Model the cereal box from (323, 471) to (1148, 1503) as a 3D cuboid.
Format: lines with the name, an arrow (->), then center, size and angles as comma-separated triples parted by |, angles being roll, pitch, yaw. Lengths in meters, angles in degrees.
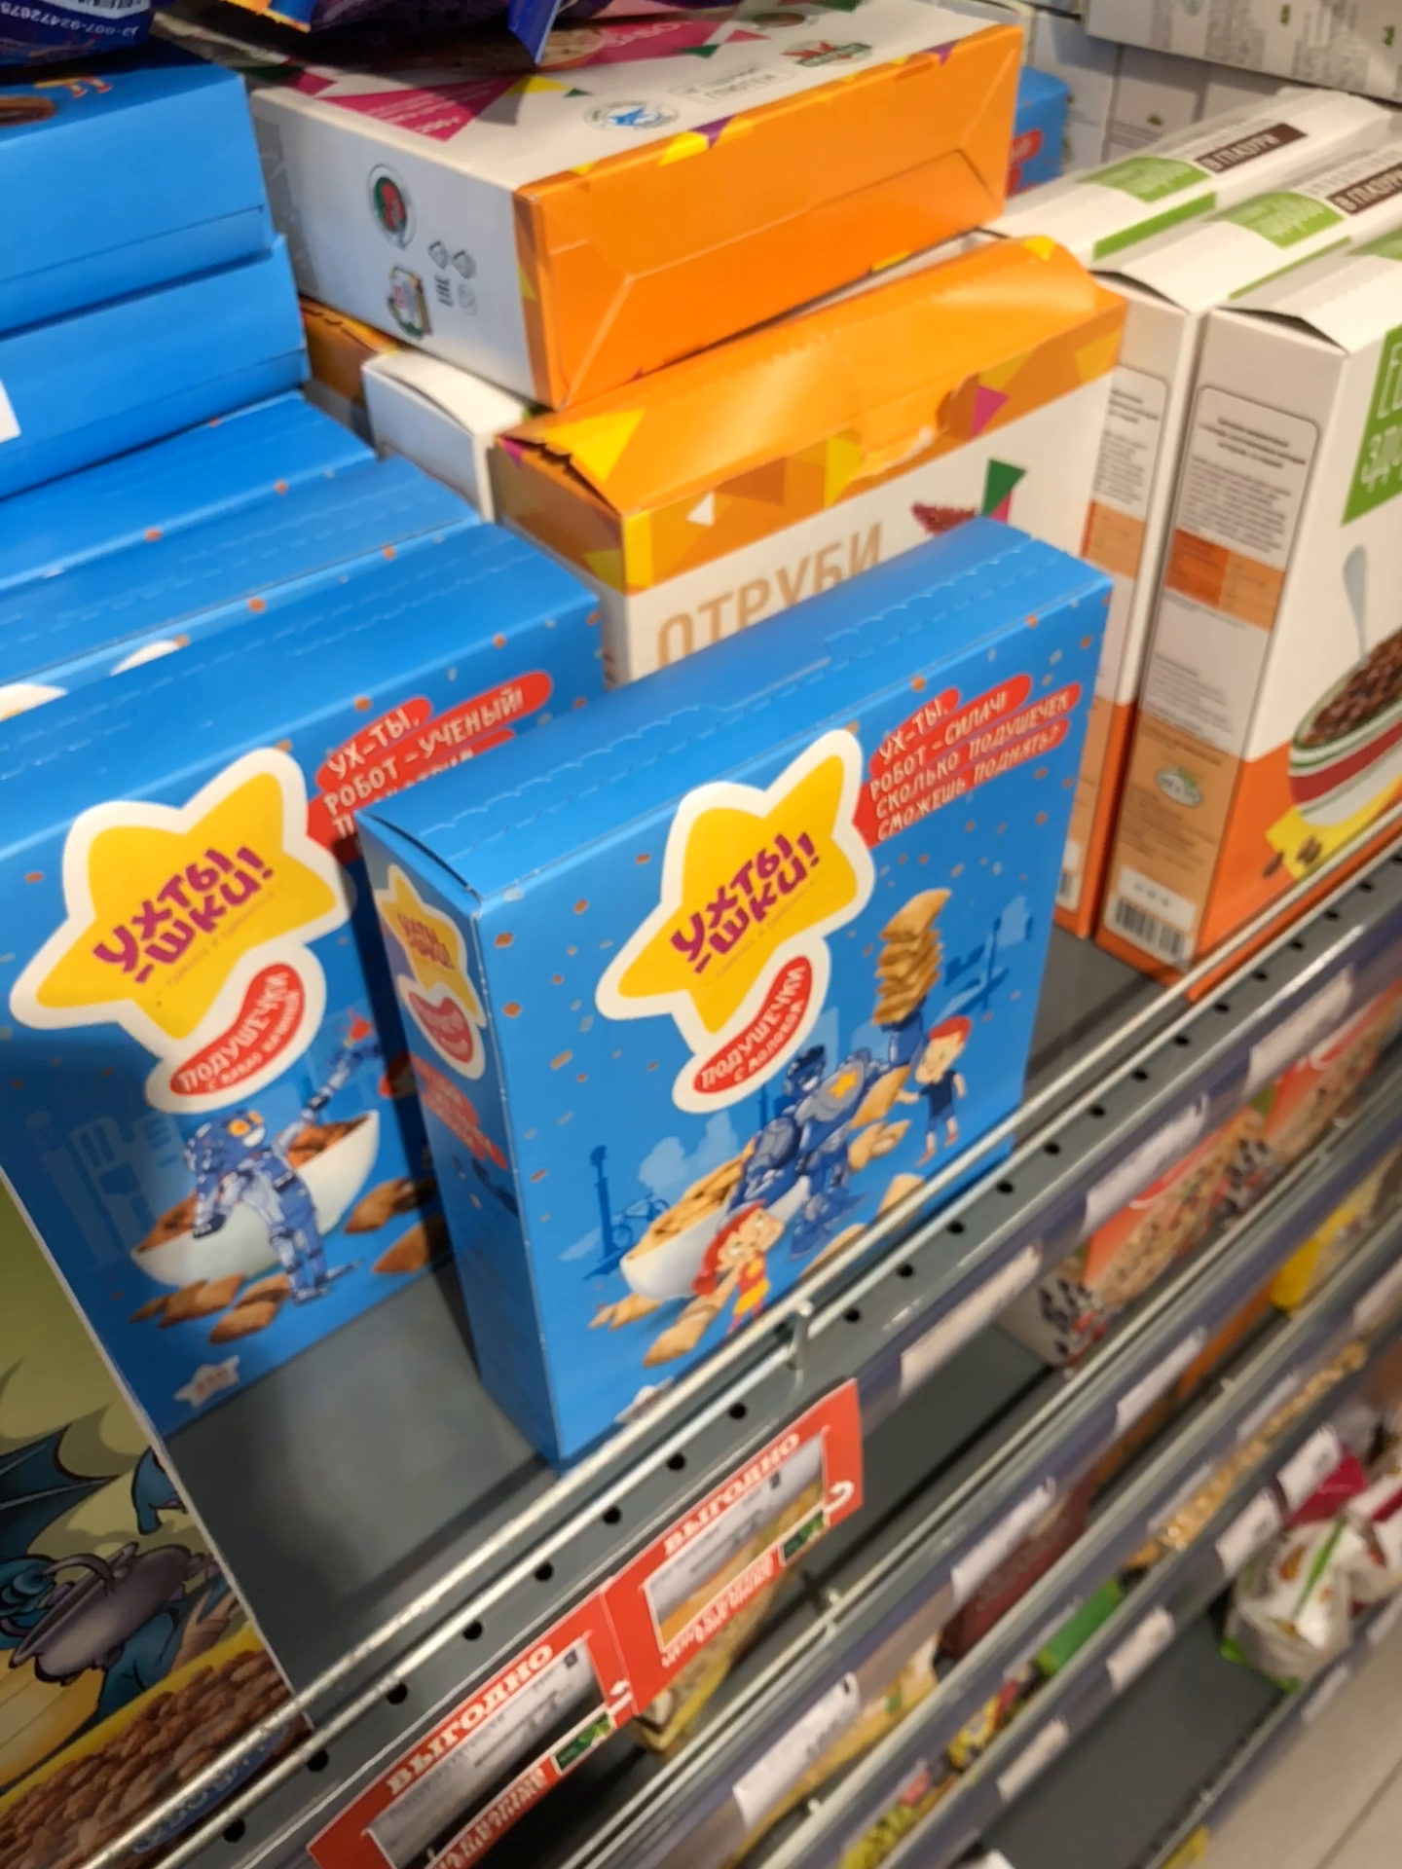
cereal box -> 0.019, 0.023, 0.435 | 0.200, 0.239, 0.050 | -30, 51, -26
